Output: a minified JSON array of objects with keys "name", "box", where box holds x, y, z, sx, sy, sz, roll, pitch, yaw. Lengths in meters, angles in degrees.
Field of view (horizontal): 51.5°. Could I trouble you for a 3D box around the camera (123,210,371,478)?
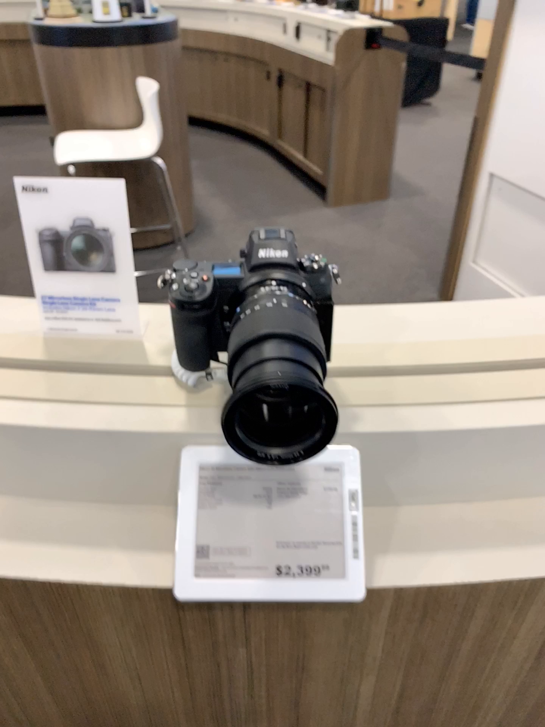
[{"name":"camera","box":[-0.017,-0.028,0.434,0.140,0.099,0.211,-1,37,-1]}]
